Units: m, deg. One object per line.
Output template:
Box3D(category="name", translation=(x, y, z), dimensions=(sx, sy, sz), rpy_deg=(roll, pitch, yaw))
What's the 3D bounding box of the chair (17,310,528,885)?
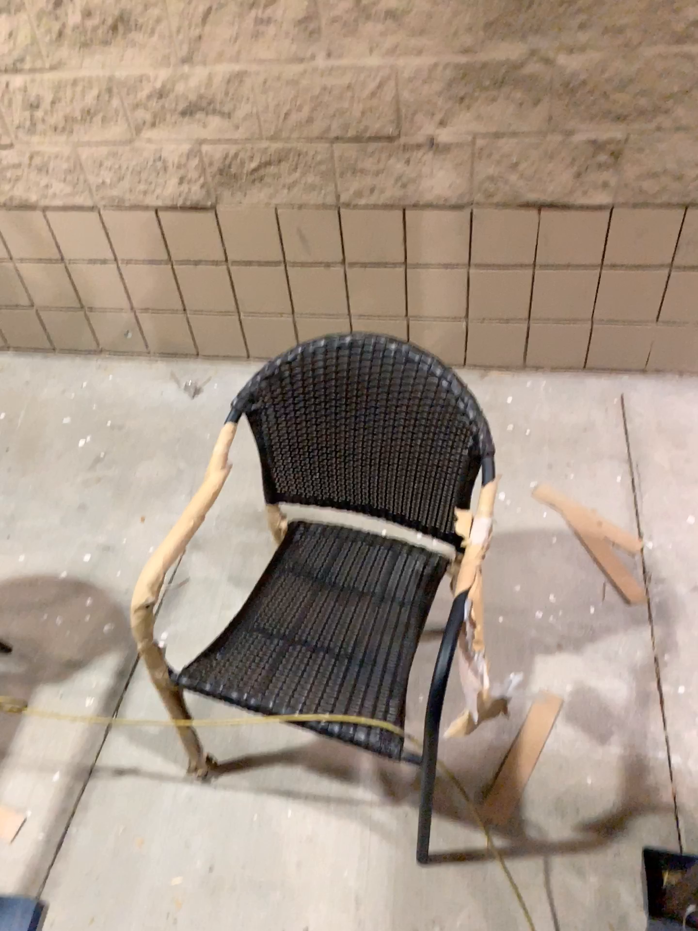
Box3D(category="chair", translation=(-0.040, 0.260, 1.356), dimensions=(0.576, 0.840, 0.599), rpy_deg=(11, 48, 17))
